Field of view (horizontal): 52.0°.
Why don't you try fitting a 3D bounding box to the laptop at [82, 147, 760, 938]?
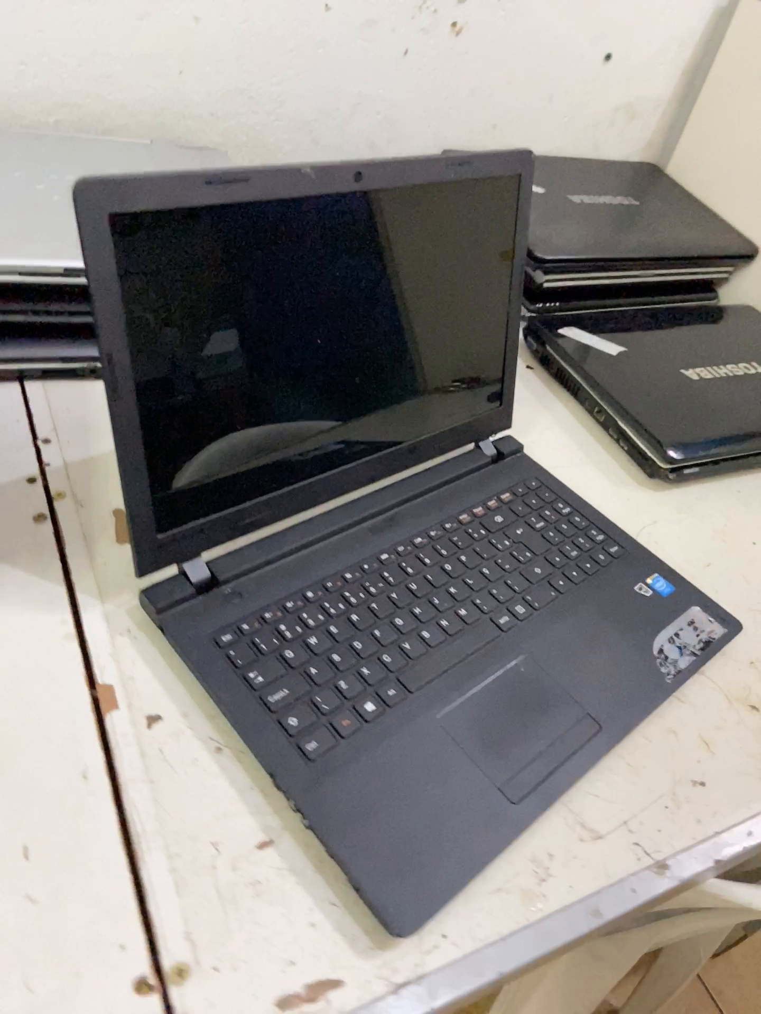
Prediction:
[{"bbox_3d":[0.067,-0.037,0.505,0.377,0.230,0.338,-24,55,-37],"label":"laptop"}]
